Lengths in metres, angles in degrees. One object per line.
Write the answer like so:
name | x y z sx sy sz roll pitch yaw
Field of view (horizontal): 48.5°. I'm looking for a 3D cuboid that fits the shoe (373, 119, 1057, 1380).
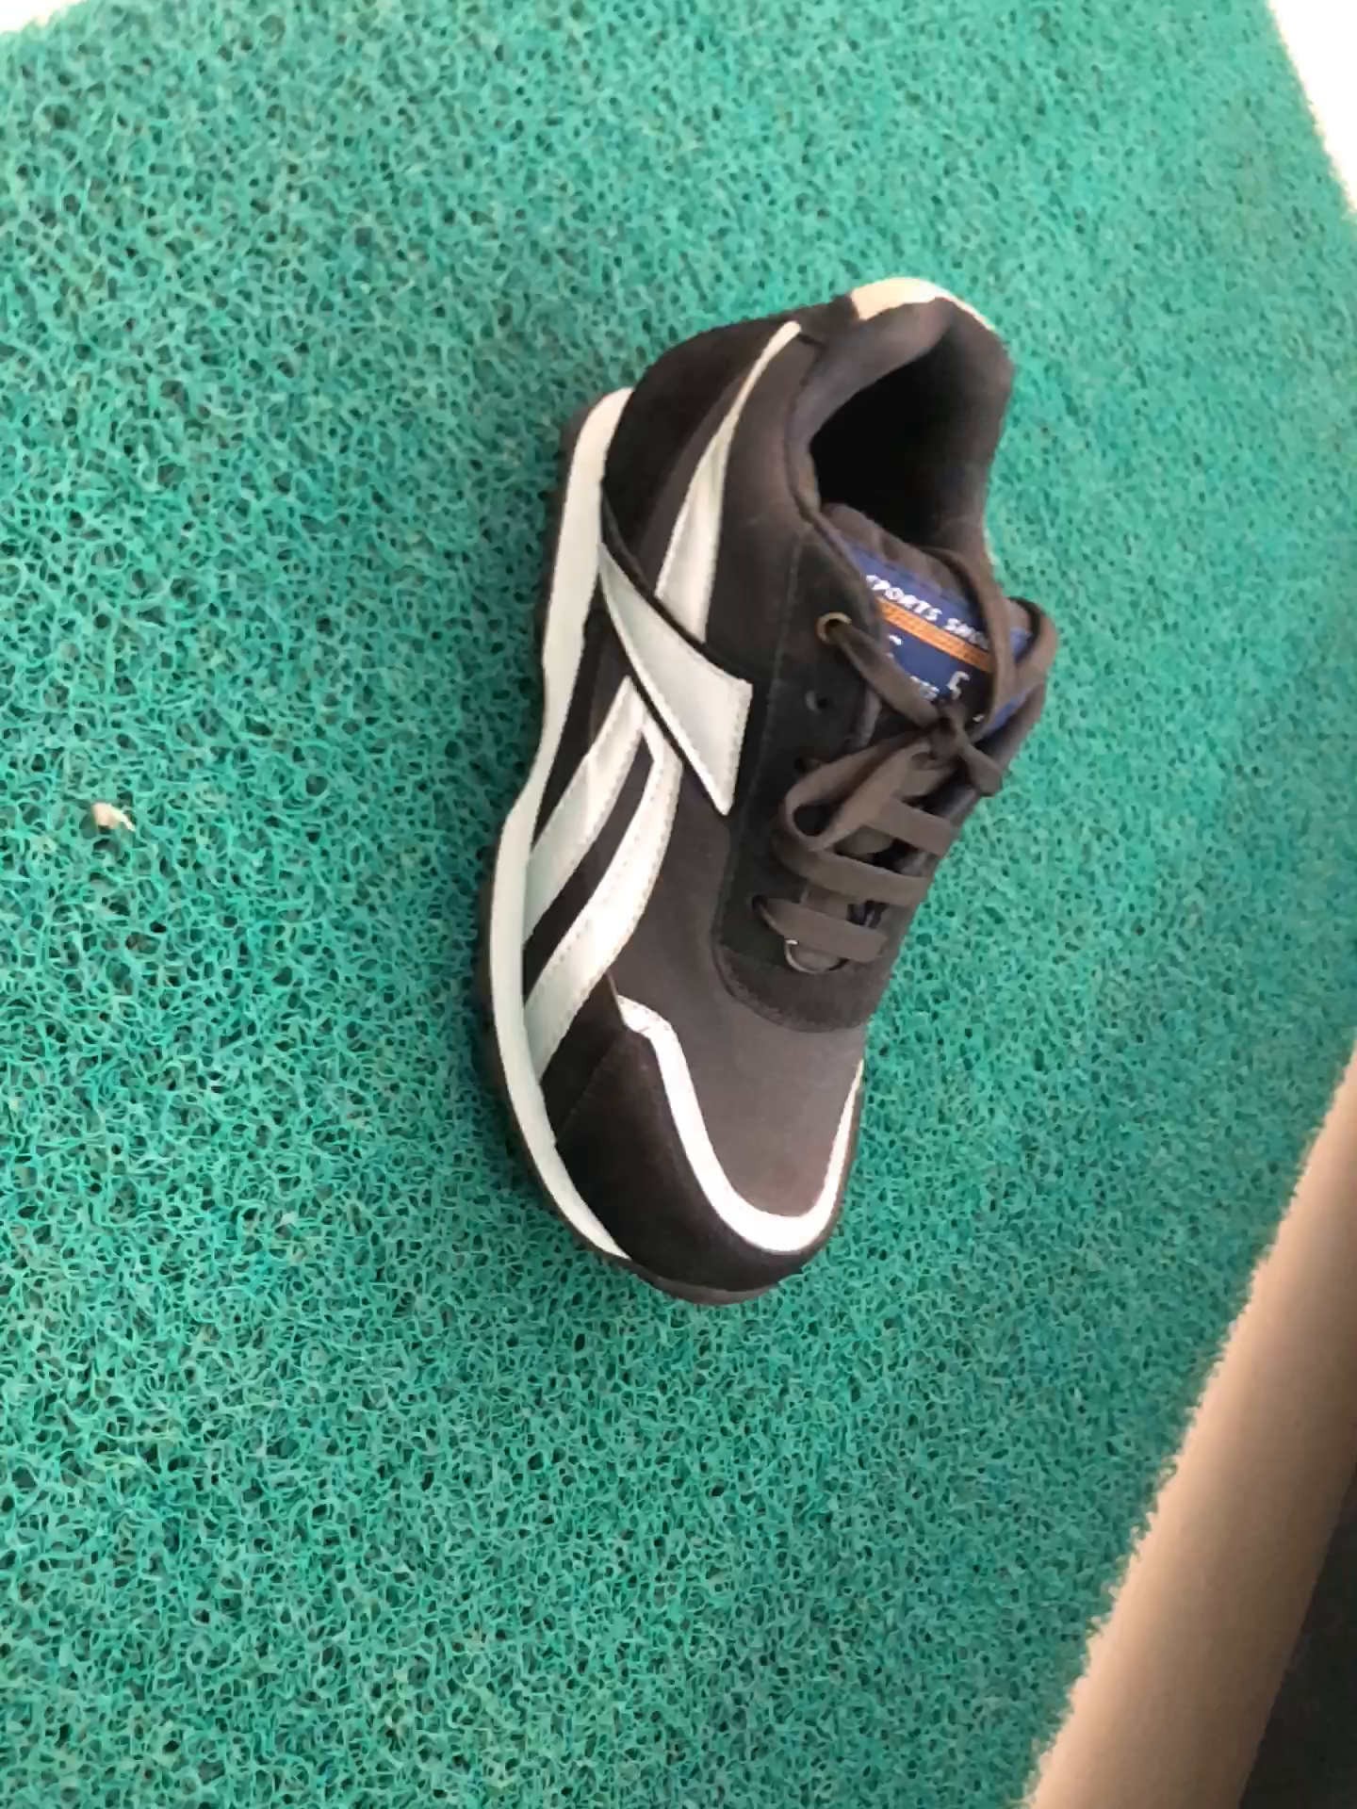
shoe | 0.015 -0.033 0.405 0.101 0.109 0.290 18 74 -38
